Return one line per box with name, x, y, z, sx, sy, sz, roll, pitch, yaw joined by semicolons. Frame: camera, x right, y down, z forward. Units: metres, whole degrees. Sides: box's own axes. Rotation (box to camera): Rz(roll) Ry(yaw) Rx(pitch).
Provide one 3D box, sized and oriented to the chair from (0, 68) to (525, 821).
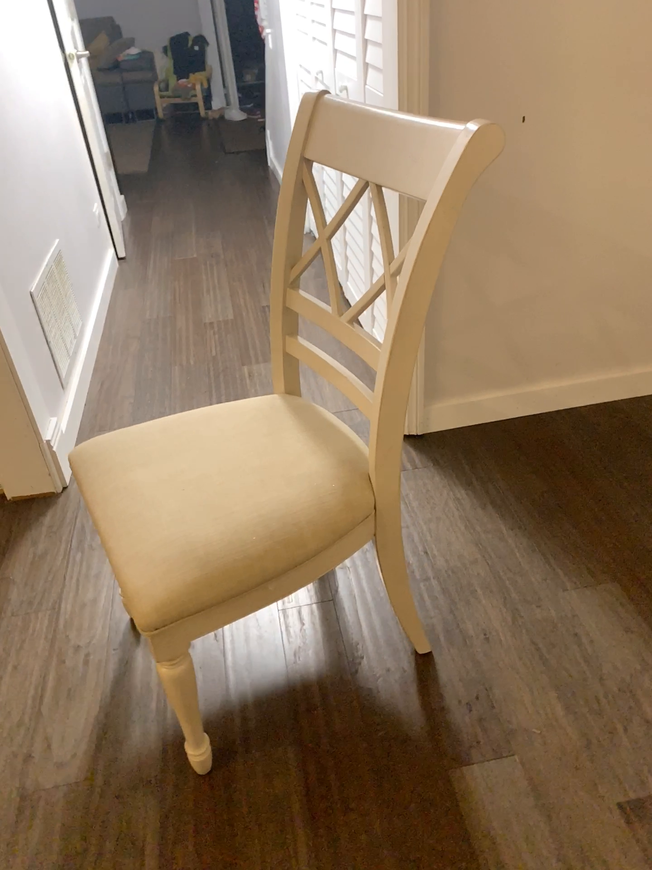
chair;-0.145;-0.008;1.141;0.610;0.994;0.583;-21;38;-22
